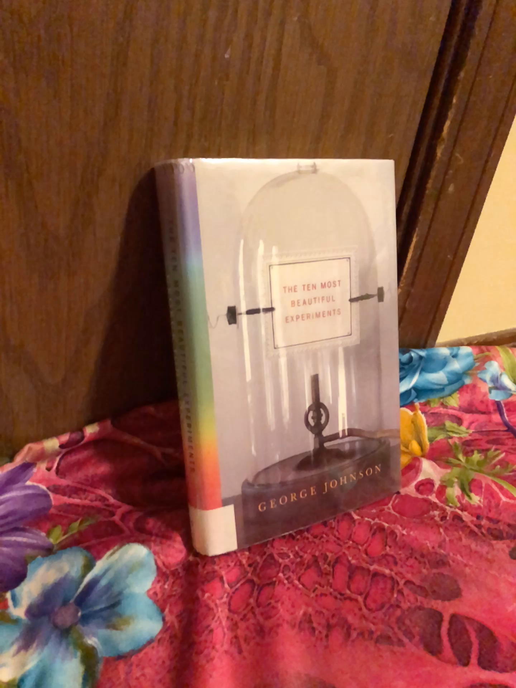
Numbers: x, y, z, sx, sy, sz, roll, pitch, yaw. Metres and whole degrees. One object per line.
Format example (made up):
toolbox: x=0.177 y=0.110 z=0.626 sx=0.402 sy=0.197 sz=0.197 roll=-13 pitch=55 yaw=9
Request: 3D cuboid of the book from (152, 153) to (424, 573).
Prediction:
book: x=0.025 y=0.002 z=0.303 sx=0.140 sy=0.190 sz=0.033 roll=-10 pitch=12 yaw=-31
